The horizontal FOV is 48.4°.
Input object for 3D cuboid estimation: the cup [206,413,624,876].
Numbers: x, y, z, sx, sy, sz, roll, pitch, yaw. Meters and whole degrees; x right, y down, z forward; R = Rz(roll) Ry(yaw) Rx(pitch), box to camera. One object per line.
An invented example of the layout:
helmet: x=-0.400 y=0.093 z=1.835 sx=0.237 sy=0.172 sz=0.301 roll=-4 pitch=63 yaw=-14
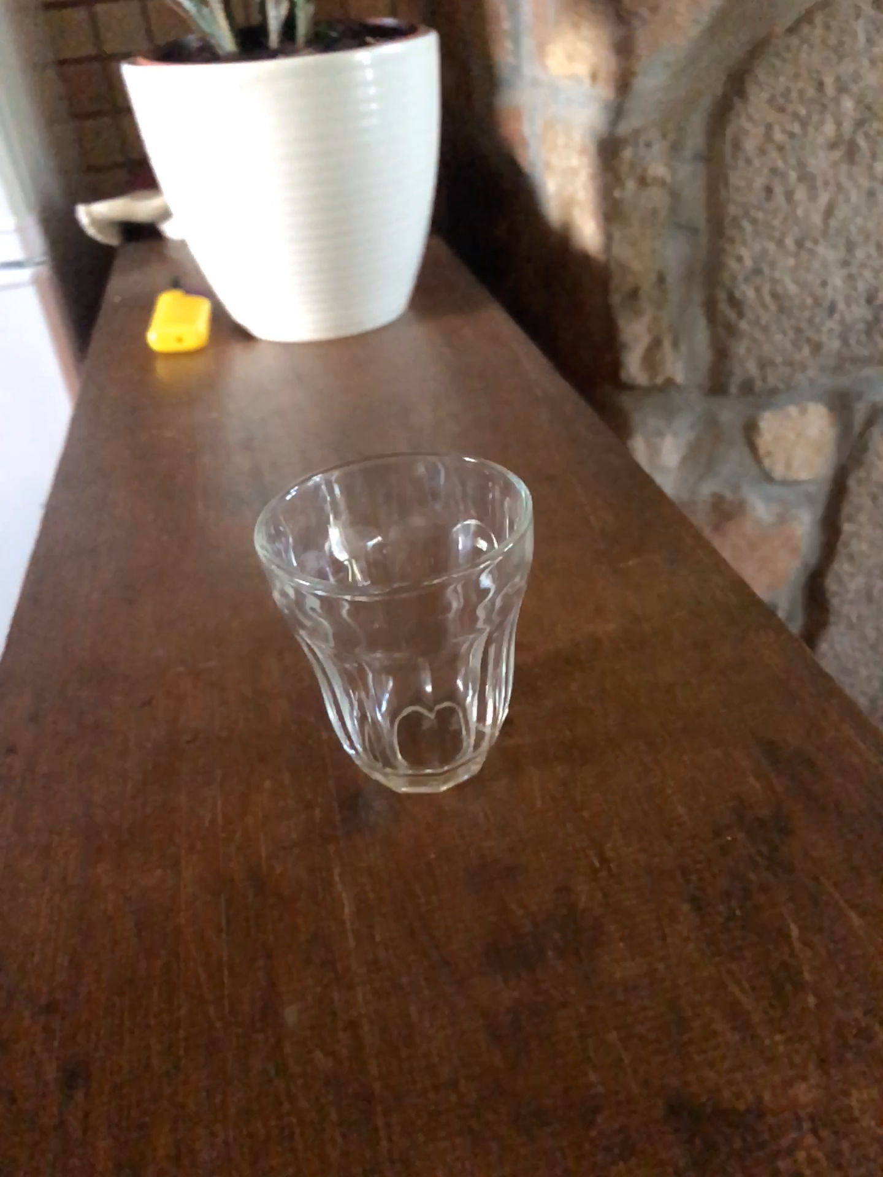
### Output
cup: x=-0.004 y=0.010 z=0.268 sx=0.080 sy=0.080 sz=0.070 roll=24 pitch=43 yaw=38
